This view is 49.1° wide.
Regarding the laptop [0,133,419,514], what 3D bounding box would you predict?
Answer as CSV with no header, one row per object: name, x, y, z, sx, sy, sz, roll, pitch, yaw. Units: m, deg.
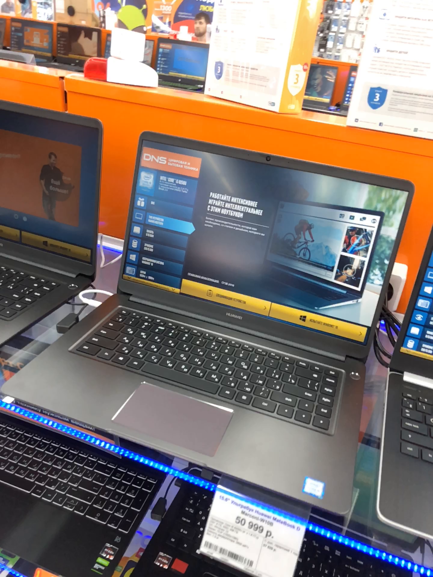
laptop,0.002,-0.008,0.510,0.338,0.212,0.289,15,29,14

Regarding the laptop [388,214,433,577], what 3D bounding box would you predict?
laptop,0.329,0.081,0.408,0.269,0.195,0.244,14,29,20

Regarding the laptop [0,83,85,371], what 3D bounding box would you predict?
laptop,-0.375,-0.110,0.603,0.355,0.230,0.242,14,27,14
